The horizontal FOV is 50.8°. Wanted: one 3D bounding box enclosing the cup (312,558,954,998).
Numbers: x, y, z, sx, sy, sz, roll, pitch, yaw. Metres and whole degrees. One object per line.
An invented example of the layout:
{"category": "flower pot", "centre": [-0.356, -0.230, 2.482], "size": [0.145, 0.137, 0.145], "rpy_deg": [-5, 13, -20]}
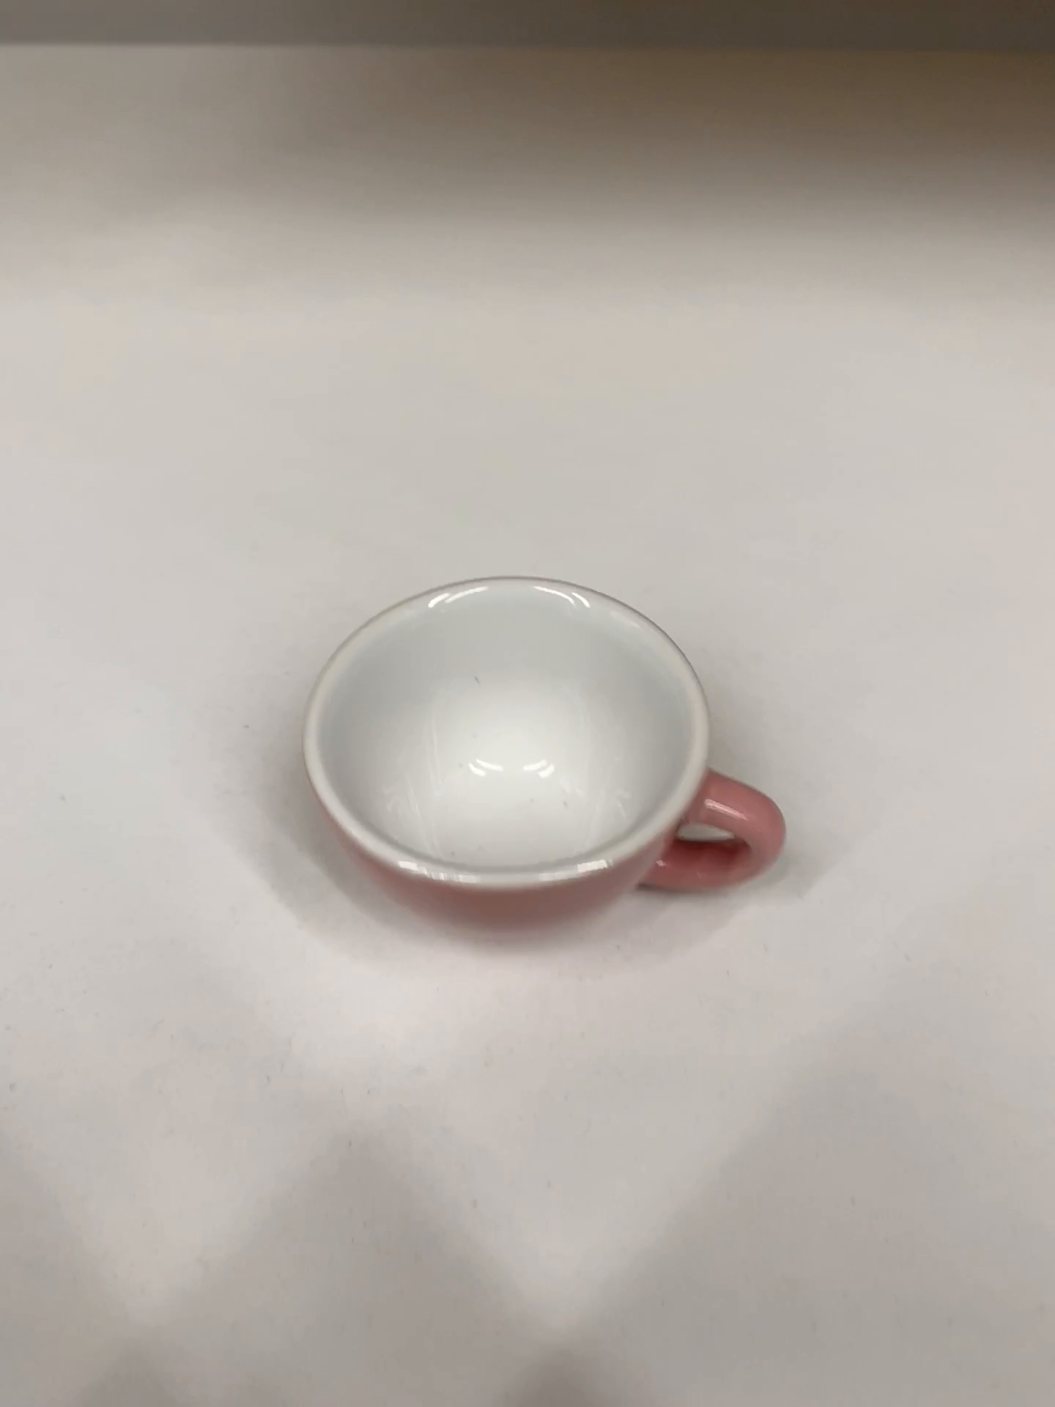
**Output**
{"category": "cup", "centre": [0.013, 0.010, 0.150], "size": [0.070, 0.040, 0.040], "rpy_deg": [2, 49, 3]}
